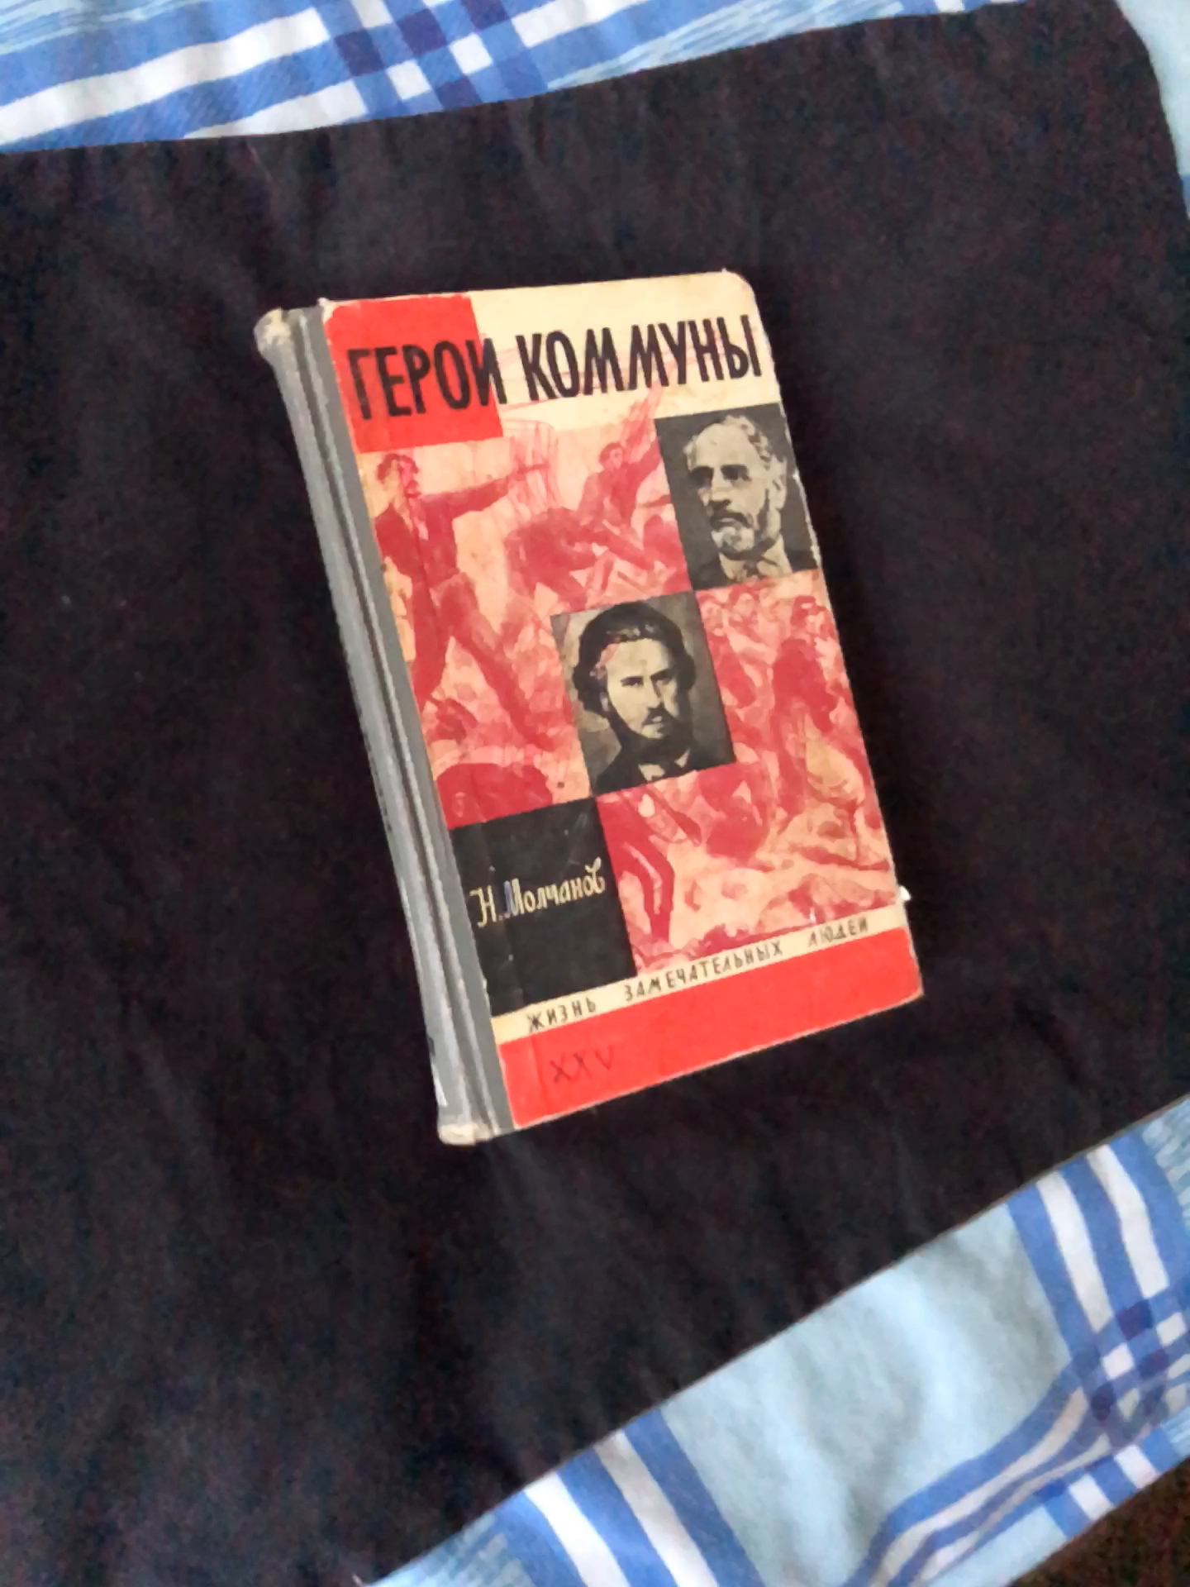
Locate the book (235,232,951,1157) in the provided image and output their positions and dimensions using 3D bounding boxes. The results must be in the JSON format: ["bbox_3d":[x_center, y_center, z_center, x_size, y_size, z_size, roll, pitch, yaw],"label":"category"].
[{"bbox_3d":[-0.002,-0.029,0.343,0.128,0.060,0.200,-14,90,-20],"label":"book"}]
